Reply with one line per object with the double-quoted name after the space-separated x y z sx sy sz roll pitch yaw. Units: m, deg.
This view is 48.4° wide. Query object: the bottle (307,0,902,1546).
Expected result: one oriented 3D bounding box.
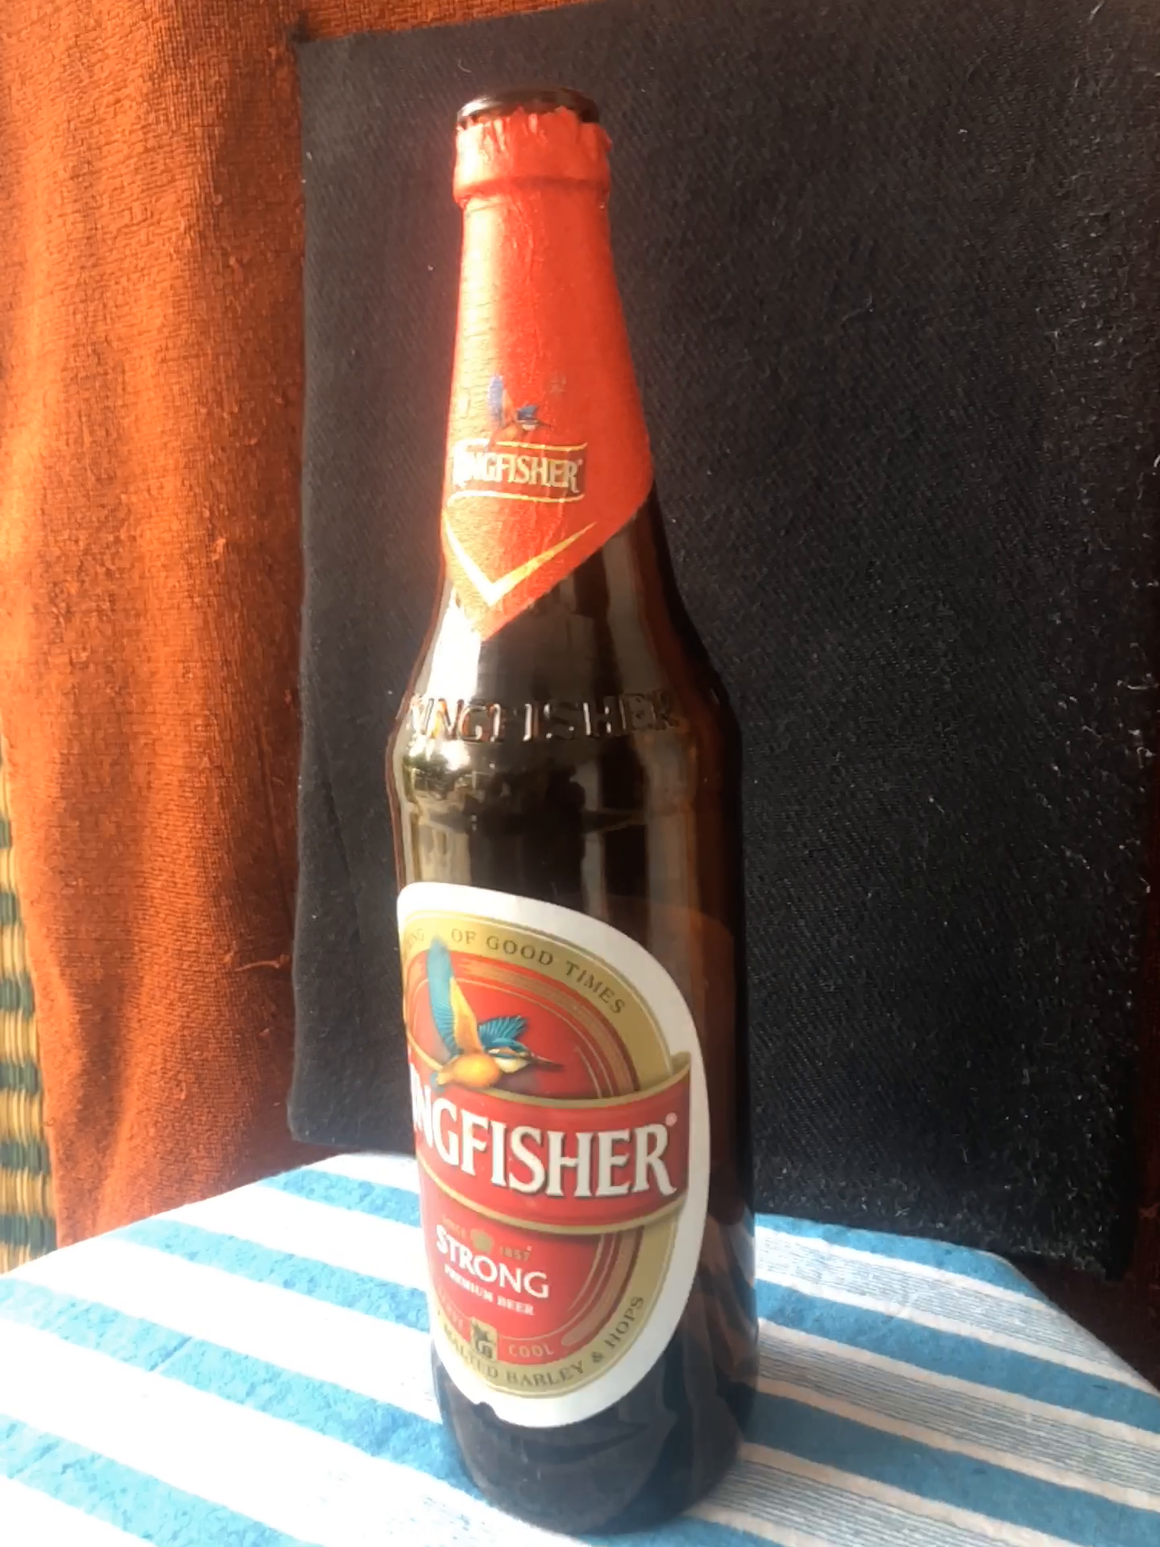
0.010 0.008 0.261 0.080 0.289 0.070 7 16 32 "bottle"
